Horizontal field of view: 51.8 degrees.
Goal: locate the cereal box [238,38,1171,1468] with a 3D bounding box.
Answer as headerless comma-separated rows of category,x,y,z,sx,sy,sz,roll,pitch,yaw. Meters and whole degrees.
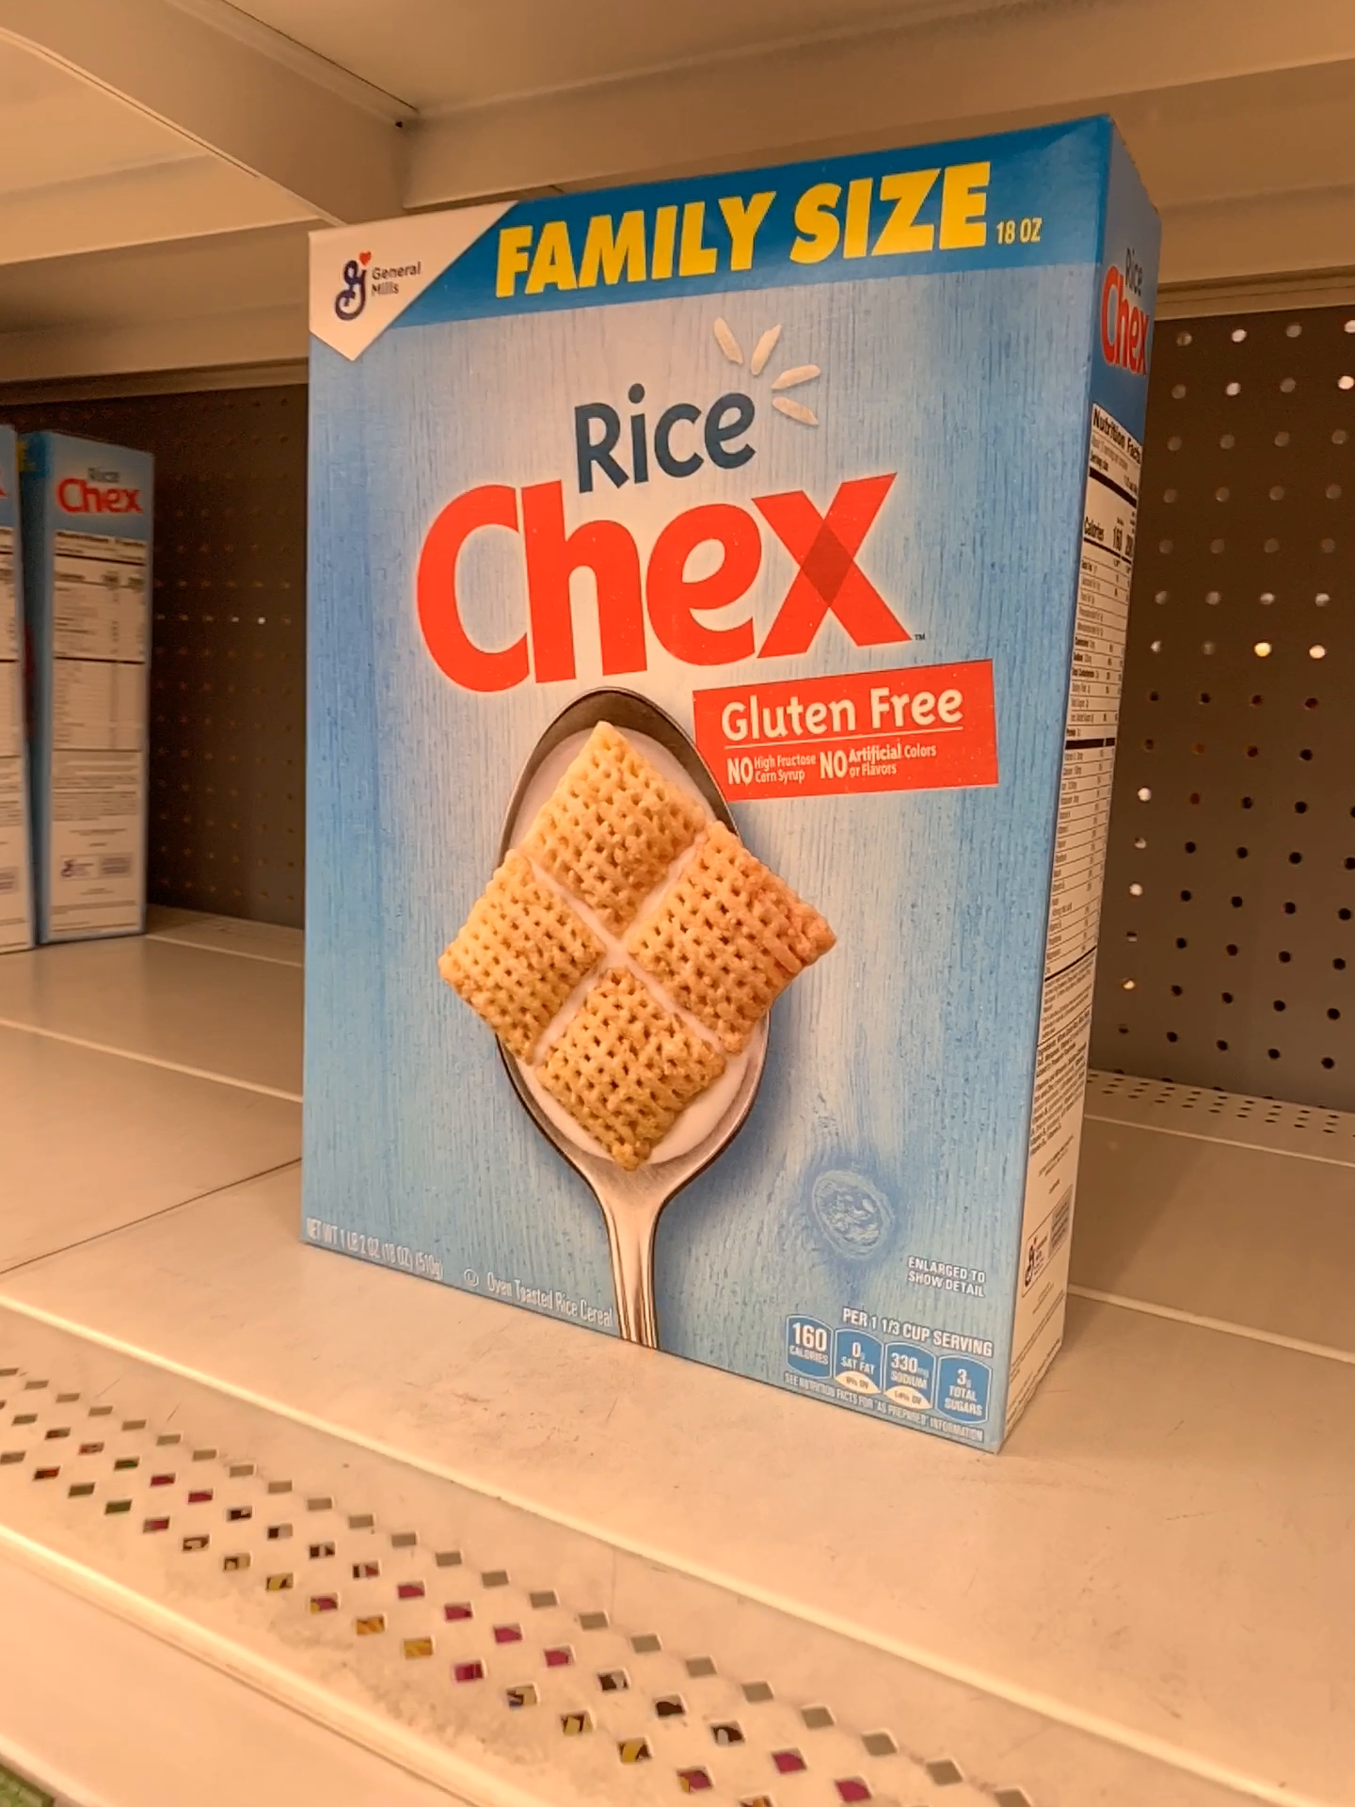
cereal box,-0.007,-0.041,0.409,0.250,0.319,0.080,7,10,29
